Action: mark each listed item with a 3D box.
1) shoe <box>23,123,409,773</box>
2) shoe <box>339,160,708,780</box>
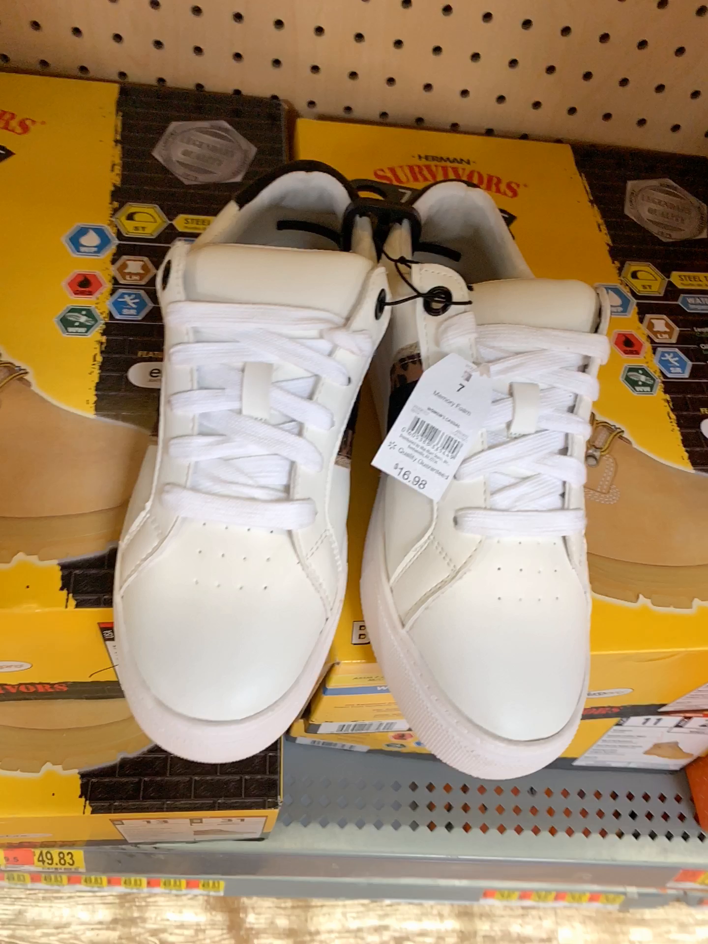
[{"bbox_3d":[-0.037,-0.020,0.290,0.100,0.072,0.246,7,61,-6],"label":"shoe"},{"bbox_3d":[0.059,-0.010,0.301,0.102,0.071,0.241,2,61,-13],"label":"shoe"}]
